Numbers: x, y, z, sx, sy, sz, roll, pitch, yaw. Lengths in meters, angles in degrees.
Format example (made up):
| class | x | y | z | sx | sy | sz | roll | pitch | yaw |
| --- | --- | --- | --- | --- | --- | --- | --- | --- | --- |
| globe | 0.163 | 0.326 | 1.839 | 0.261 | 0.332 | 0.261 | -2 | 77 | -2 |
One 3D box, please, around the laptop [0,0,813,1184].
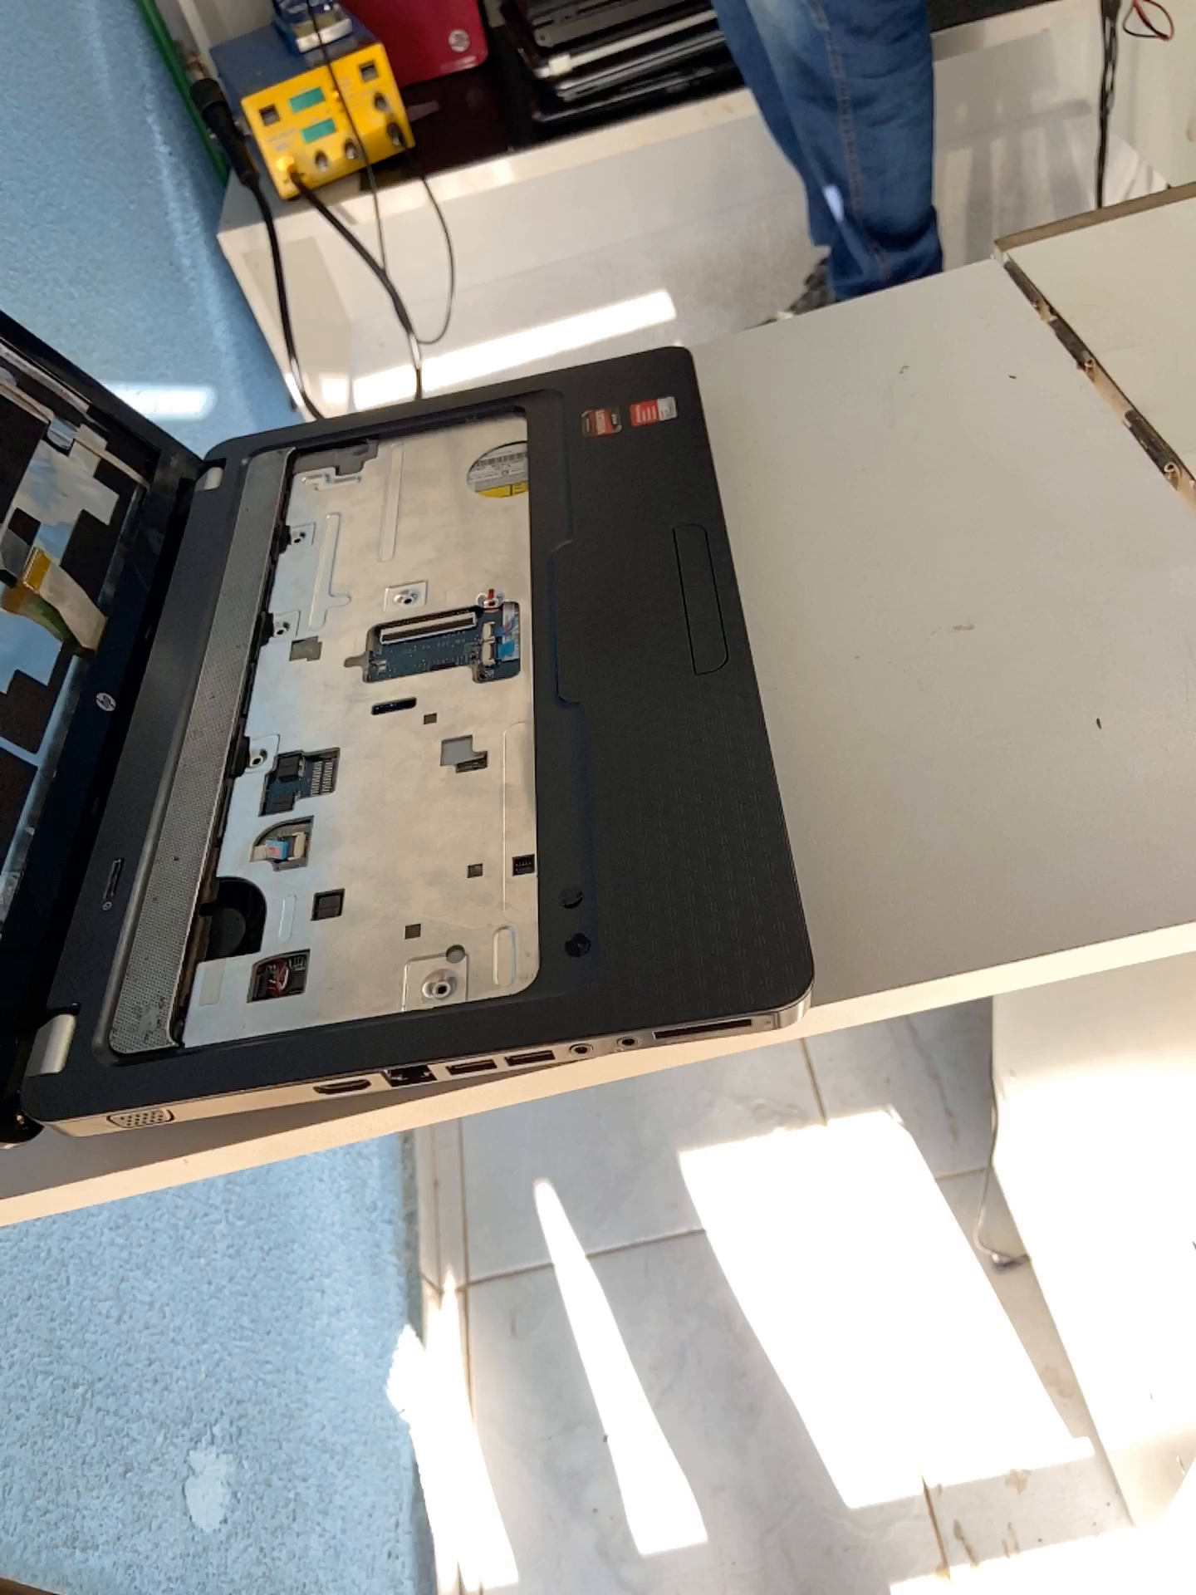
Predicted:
| class | x | y | z | sx | sy | sz | roll | pitch | yaw |
| --- | --- | --- | --- | --- | --- | --- | --- | --- | --- |
| laptop | -0.143 | -0.100 | 0.391 | 0.349 | 0.179 | 0.340 | -10 | 48 | 7 |
